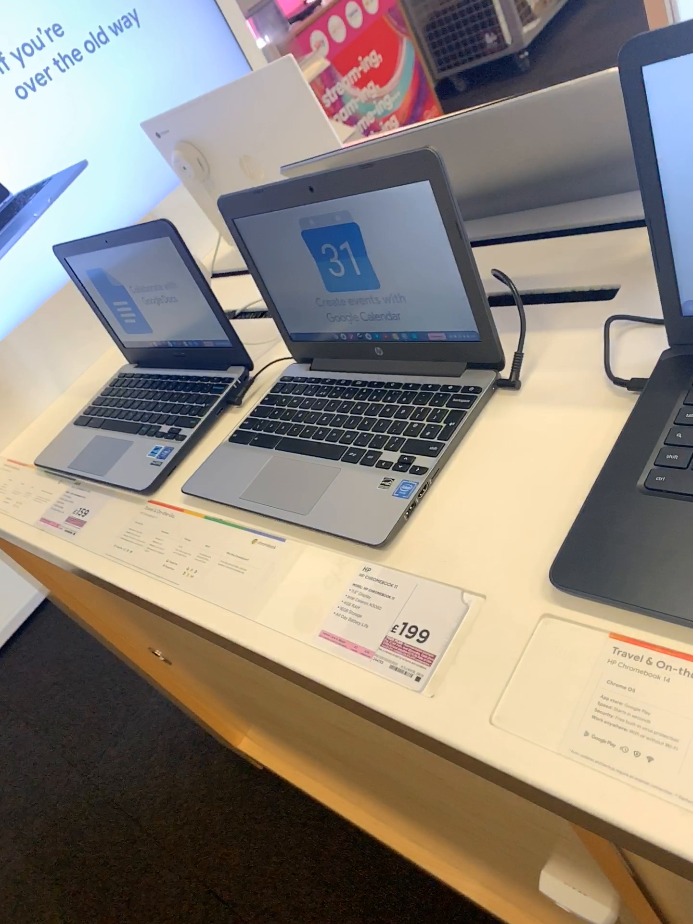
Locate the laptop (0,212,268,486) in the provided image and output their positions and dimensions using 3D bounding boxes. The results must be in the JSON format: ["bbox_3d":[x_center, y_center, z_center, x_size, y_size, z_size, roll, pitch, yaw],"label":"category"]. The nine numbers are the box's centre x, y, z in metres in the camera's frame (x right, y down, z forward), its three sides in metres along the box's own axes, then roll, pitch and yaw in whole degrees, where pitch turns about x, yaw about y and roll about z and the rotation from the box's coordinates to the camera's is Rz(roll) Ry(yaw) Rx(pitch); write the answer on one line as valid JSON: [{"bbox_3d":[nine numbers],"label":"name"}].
[{"bbox_3d":[-0.294,-0.135,0.856,0.288,0.180,0.221,8,53,44],"label":"laptop"}]

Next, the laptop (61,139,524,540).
[{"bbox_3d":[-0.046,-0.105,0.620,0.279,0.185,0.228,9,53,45],"label":"laptop"}]
